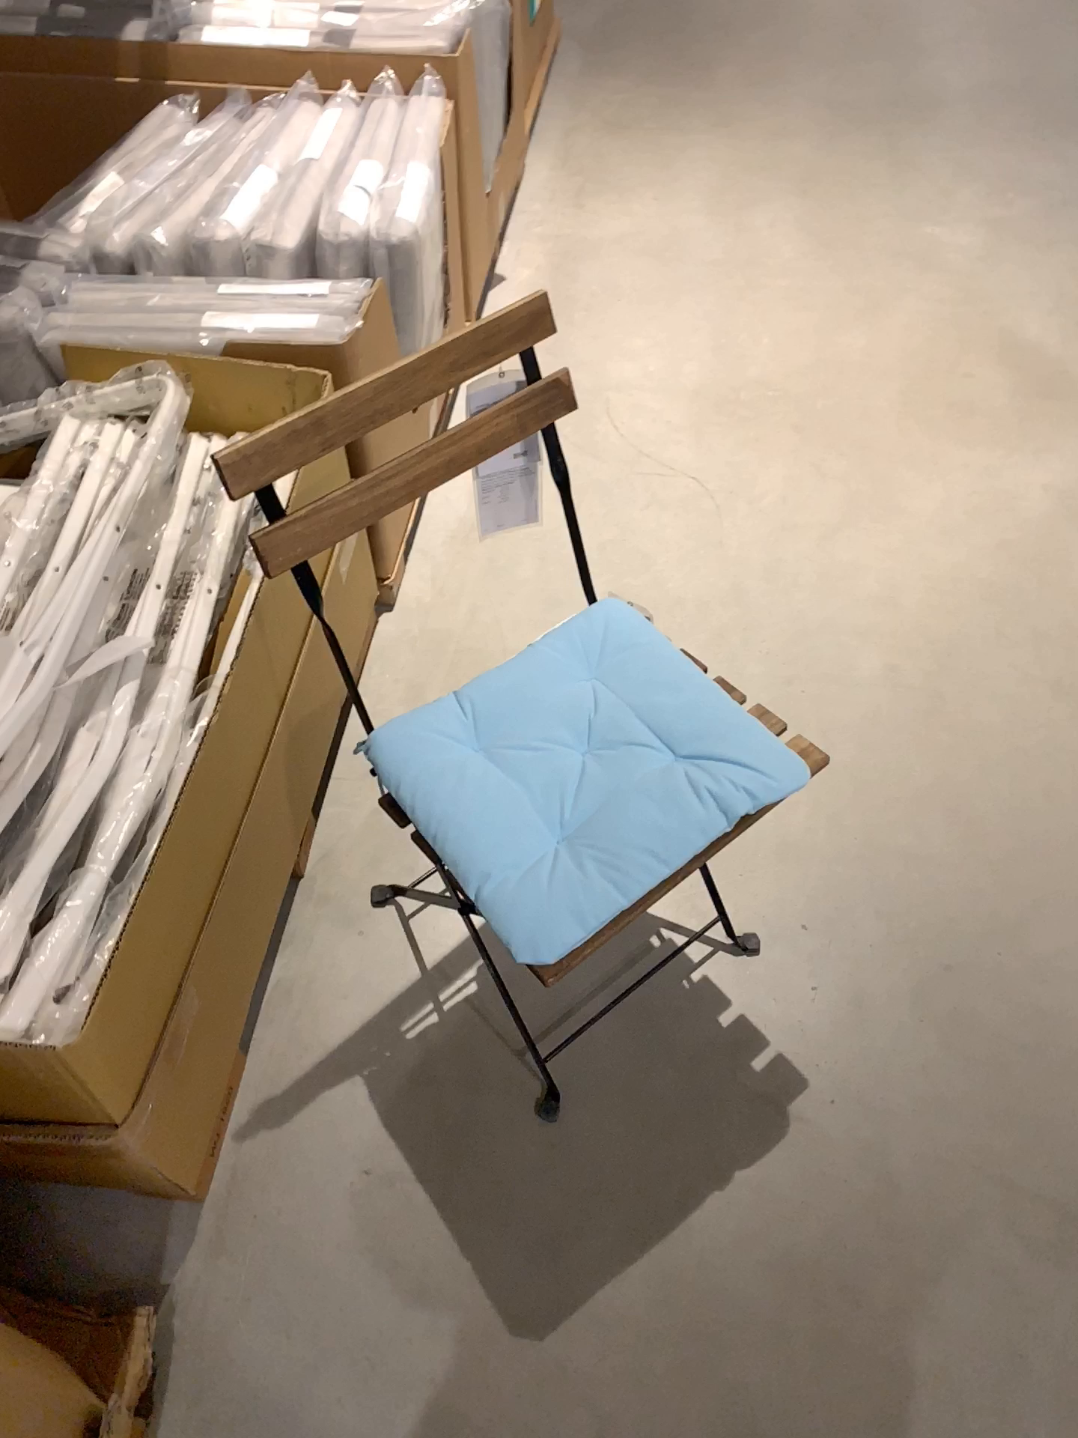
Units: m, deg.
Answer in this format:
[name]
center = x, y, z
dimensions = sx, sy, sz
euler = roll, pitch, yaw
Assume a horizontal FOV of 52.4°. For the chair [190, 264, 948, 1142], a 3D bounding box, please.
[chair]
center = 0.019, 0.027, 1.168
dimensions = 0.400, 0.738, 0.461
euler = -34, 59, -22
